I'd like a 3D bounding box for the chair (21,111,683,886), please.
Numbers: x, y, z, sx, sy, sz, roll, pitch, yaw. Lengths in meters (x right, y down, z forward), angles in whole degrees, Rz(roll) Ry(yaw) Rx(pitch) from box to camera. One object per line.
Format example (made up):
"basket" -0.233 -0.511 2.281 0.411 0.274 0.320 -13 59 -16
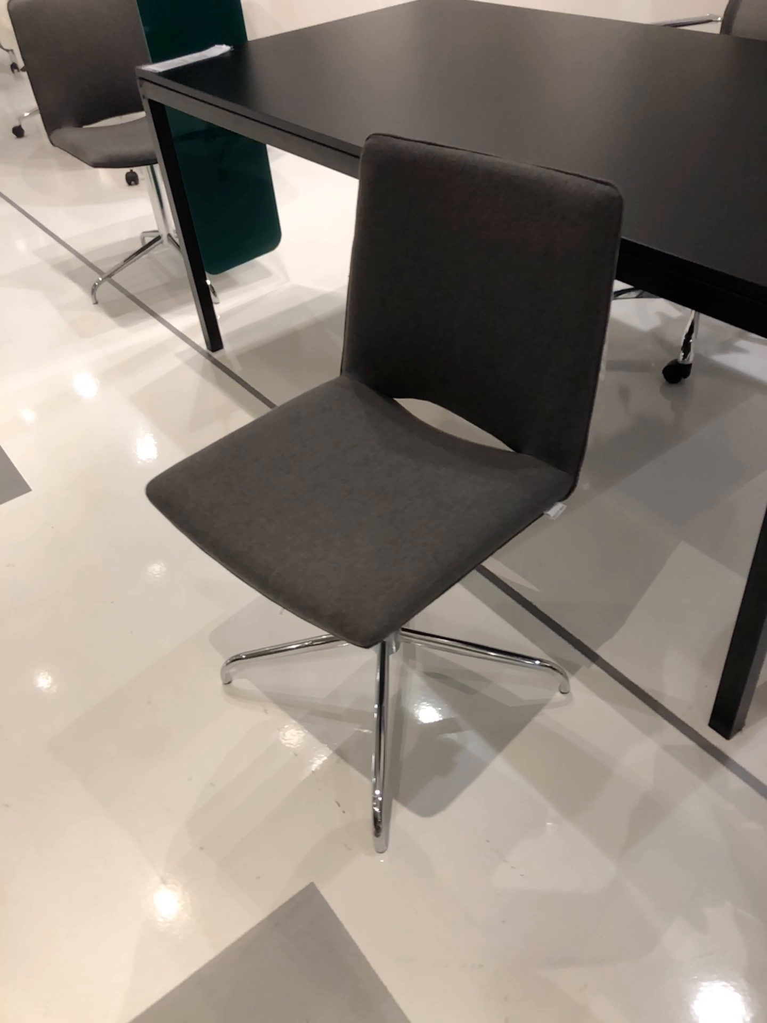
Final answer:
"chair" -0.002 -0.029 1.226 0.522 0.834 0.552 29 51 34
